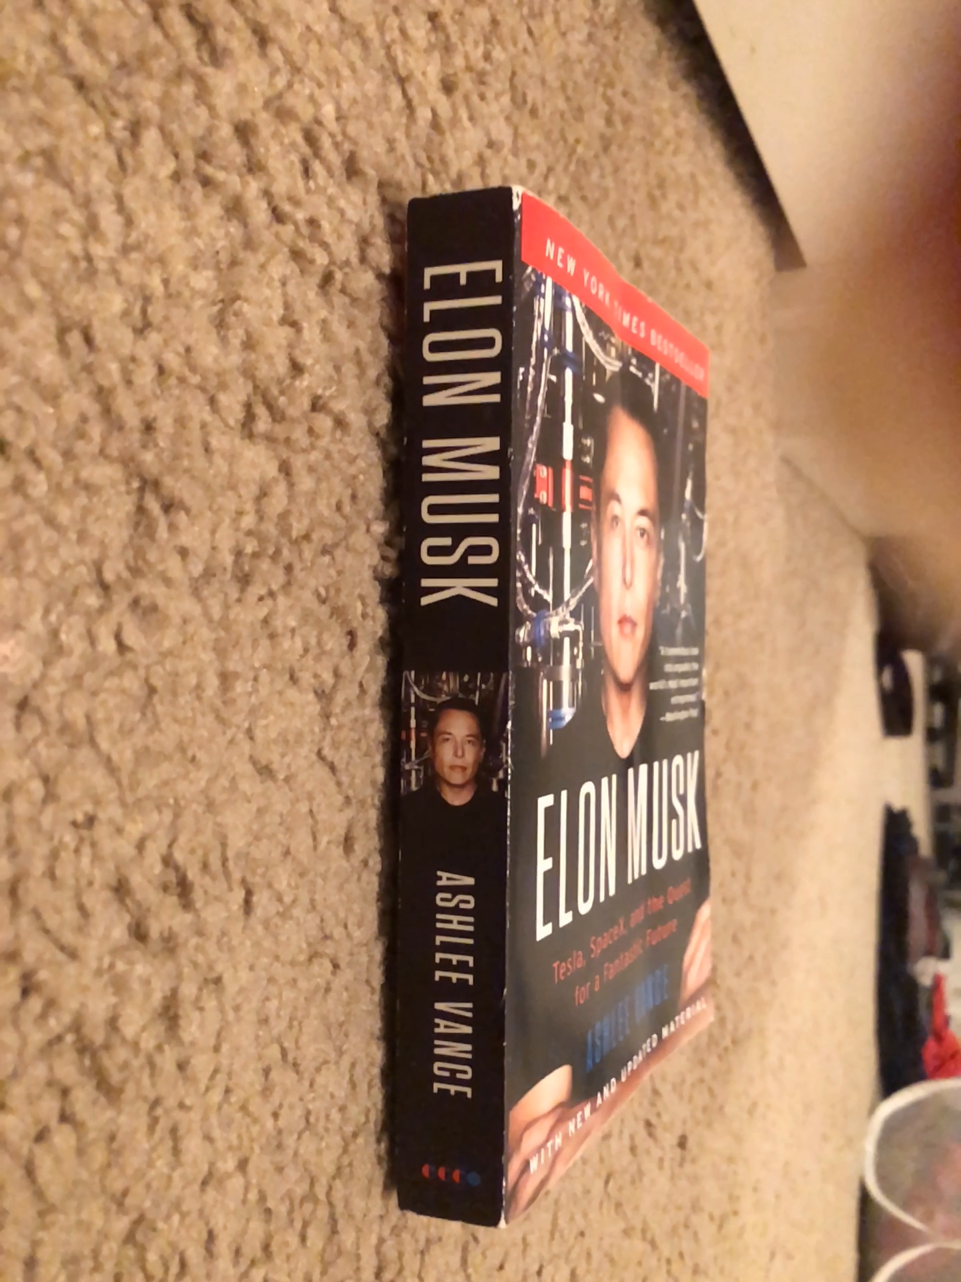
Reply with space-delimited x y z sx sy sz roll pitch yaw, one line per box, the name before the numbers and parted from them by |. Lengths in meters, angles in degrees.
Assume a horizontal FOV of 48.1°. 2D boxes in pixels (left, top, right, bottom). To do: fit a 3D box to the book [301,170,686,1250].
book | 0.013 0.013 0.270 0.137 0.033 0.202 1 90 -61
